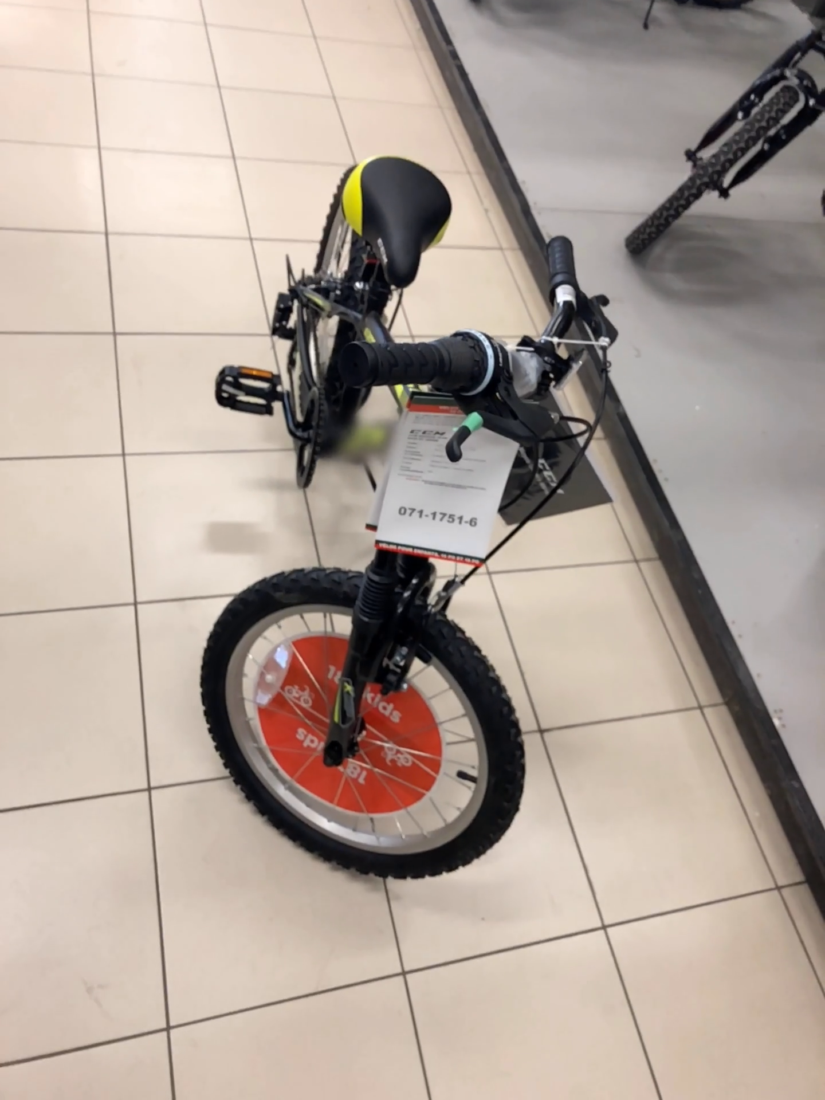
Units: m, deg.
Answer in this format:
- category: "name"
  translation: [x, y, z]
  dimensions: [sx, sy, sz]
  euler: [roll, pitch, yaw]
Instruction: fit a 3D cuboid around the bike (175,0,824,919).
- category: "bike"
  translation: [0.002, -0.249, 1.271]
  dimensions: [0.549, 0.861, 1.198]
  euler: [-3, 56, -18]
